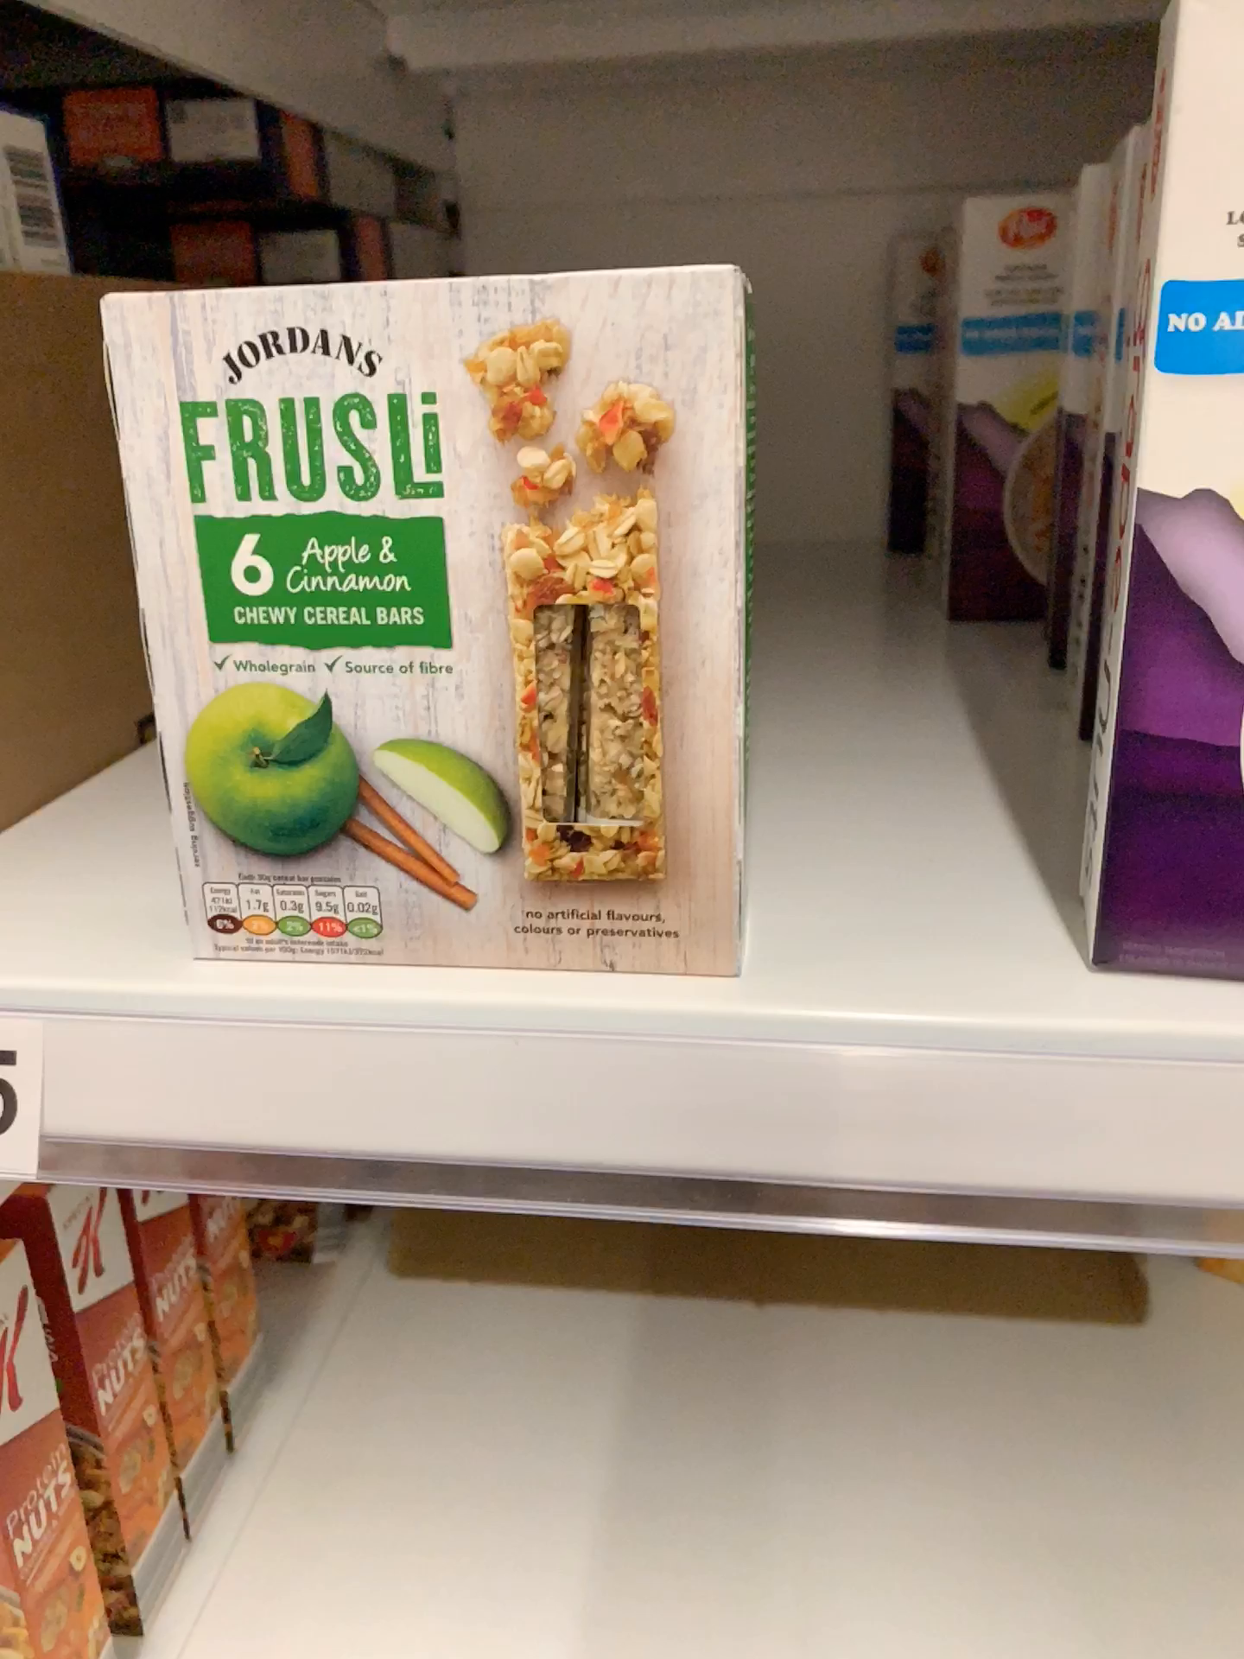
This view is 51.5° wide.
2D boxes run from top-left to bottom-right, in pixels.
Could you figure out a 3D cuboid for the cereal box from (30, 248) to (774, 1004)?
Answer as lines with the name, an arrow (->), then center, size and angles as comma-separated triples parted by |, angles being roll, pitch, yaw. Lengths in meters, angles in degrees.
cereal box -> -0.041, -0.045, 0.303 | 0.150, 0.159, 0.050 | 1, 20, 8
